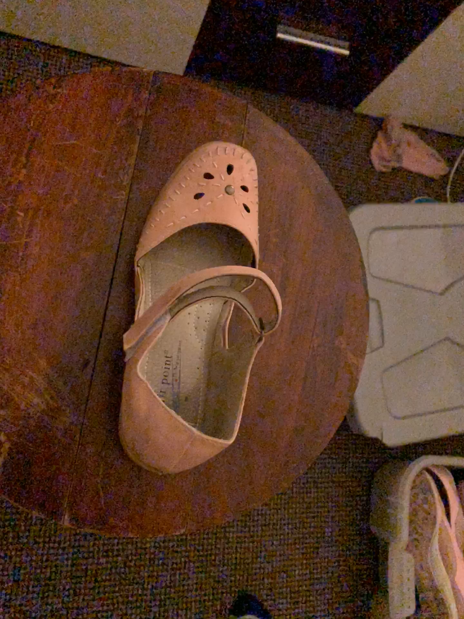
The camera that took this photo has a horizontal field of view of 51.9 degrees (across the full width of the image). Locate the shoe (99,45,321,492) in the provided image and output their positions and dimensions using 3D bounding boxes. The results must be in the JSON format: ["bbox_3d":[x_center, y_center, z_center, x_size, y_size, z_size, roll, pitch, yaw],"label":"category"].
[{"bbox_3d":[-0.015,-0.026,0.339,0.101,0.092,0.272,11,76,-16],"label":"shoe"}]
